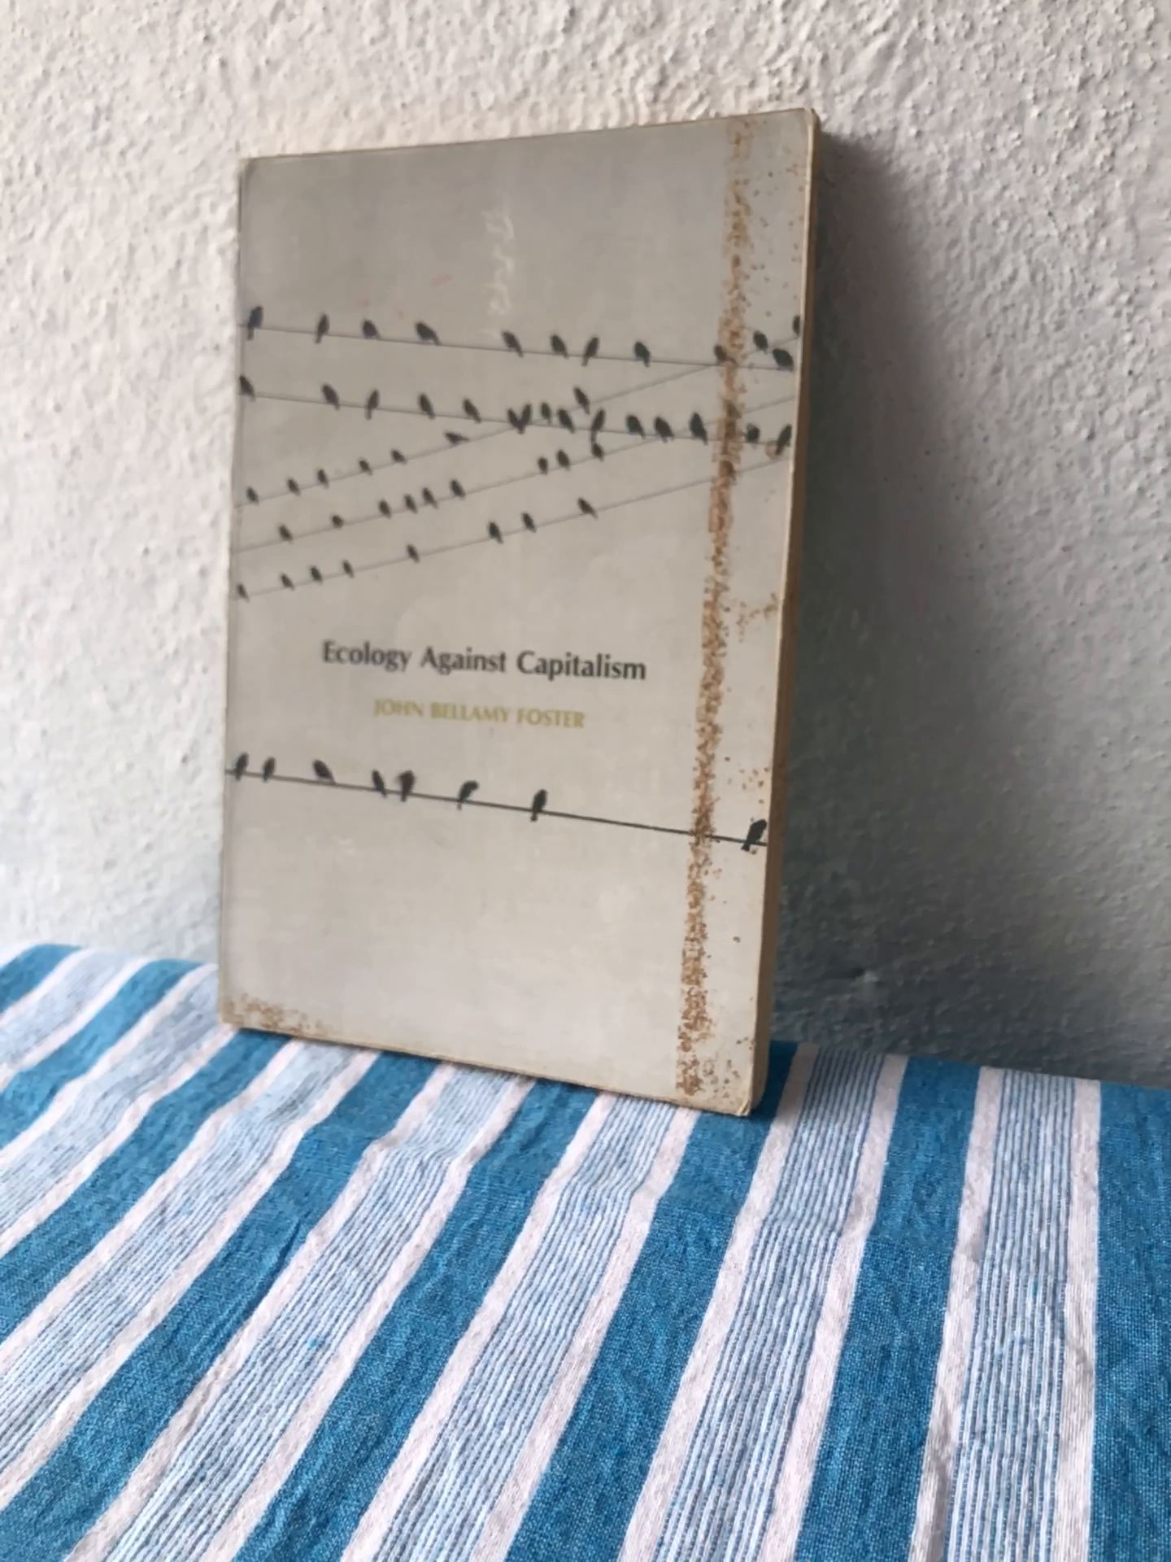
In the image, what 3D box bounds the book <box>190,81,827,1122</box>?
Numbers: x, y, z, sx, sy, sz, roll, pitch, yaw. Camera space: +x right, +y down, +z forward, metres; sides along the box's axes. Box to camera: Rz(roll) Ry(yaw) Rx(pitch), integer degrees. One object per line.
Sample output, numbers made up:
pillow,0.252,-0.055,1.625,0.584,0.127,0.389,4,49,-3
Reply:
book,-0.022,-0.040,0.307,0.140,0.210,0.030,4,2,24
